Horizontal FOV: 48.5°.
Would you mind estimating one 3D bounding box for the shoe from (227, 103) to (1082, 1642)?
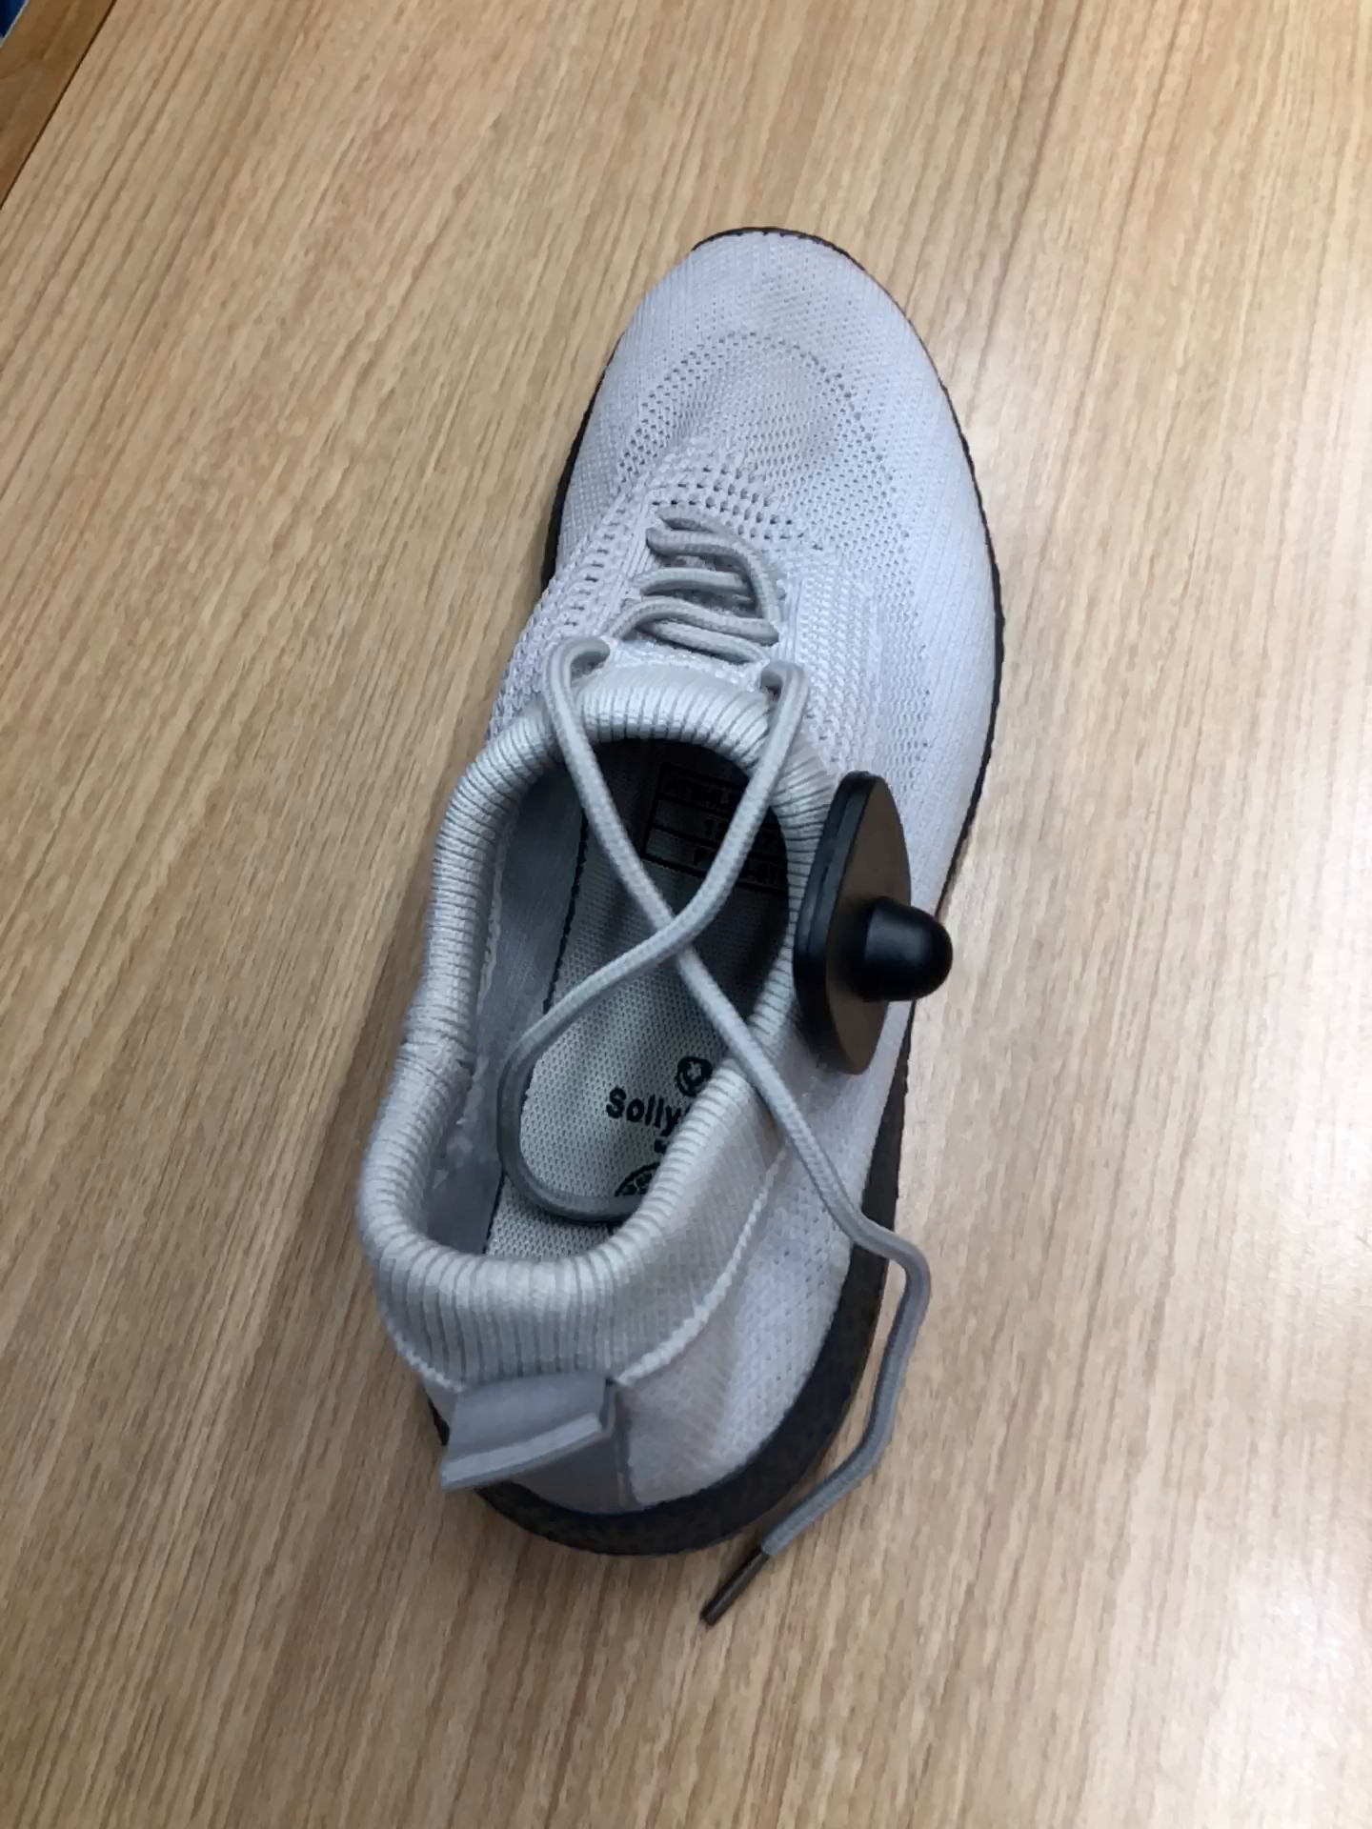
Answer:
[{"bbox_3d":[0.009,-0.016,0.303,0.100,0.100,0.271,8,69,6],"label":"shoe"}]
